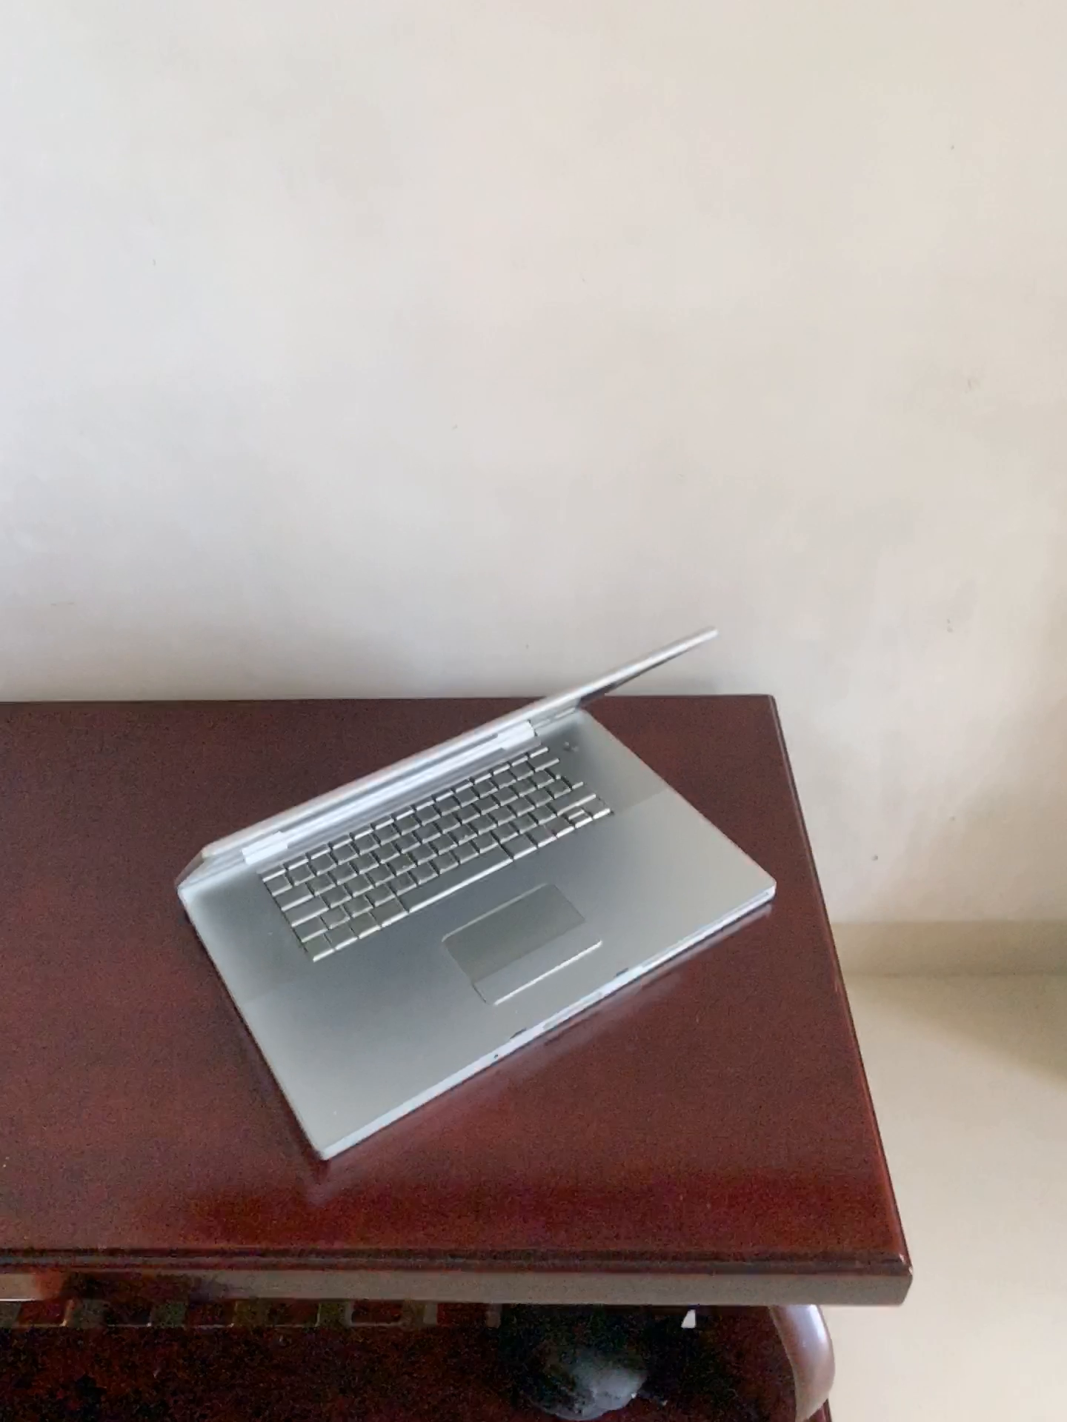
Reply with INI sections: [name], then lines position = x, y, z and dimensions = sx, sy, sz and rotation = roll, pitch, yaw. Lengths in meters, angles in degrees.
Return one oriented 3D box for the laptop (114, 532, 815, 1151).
[laptop]
position = -0.044, 0.066, 0.812
dimensions = 0.400, 0.193, 0.266
rotation = -23, 45, -26
